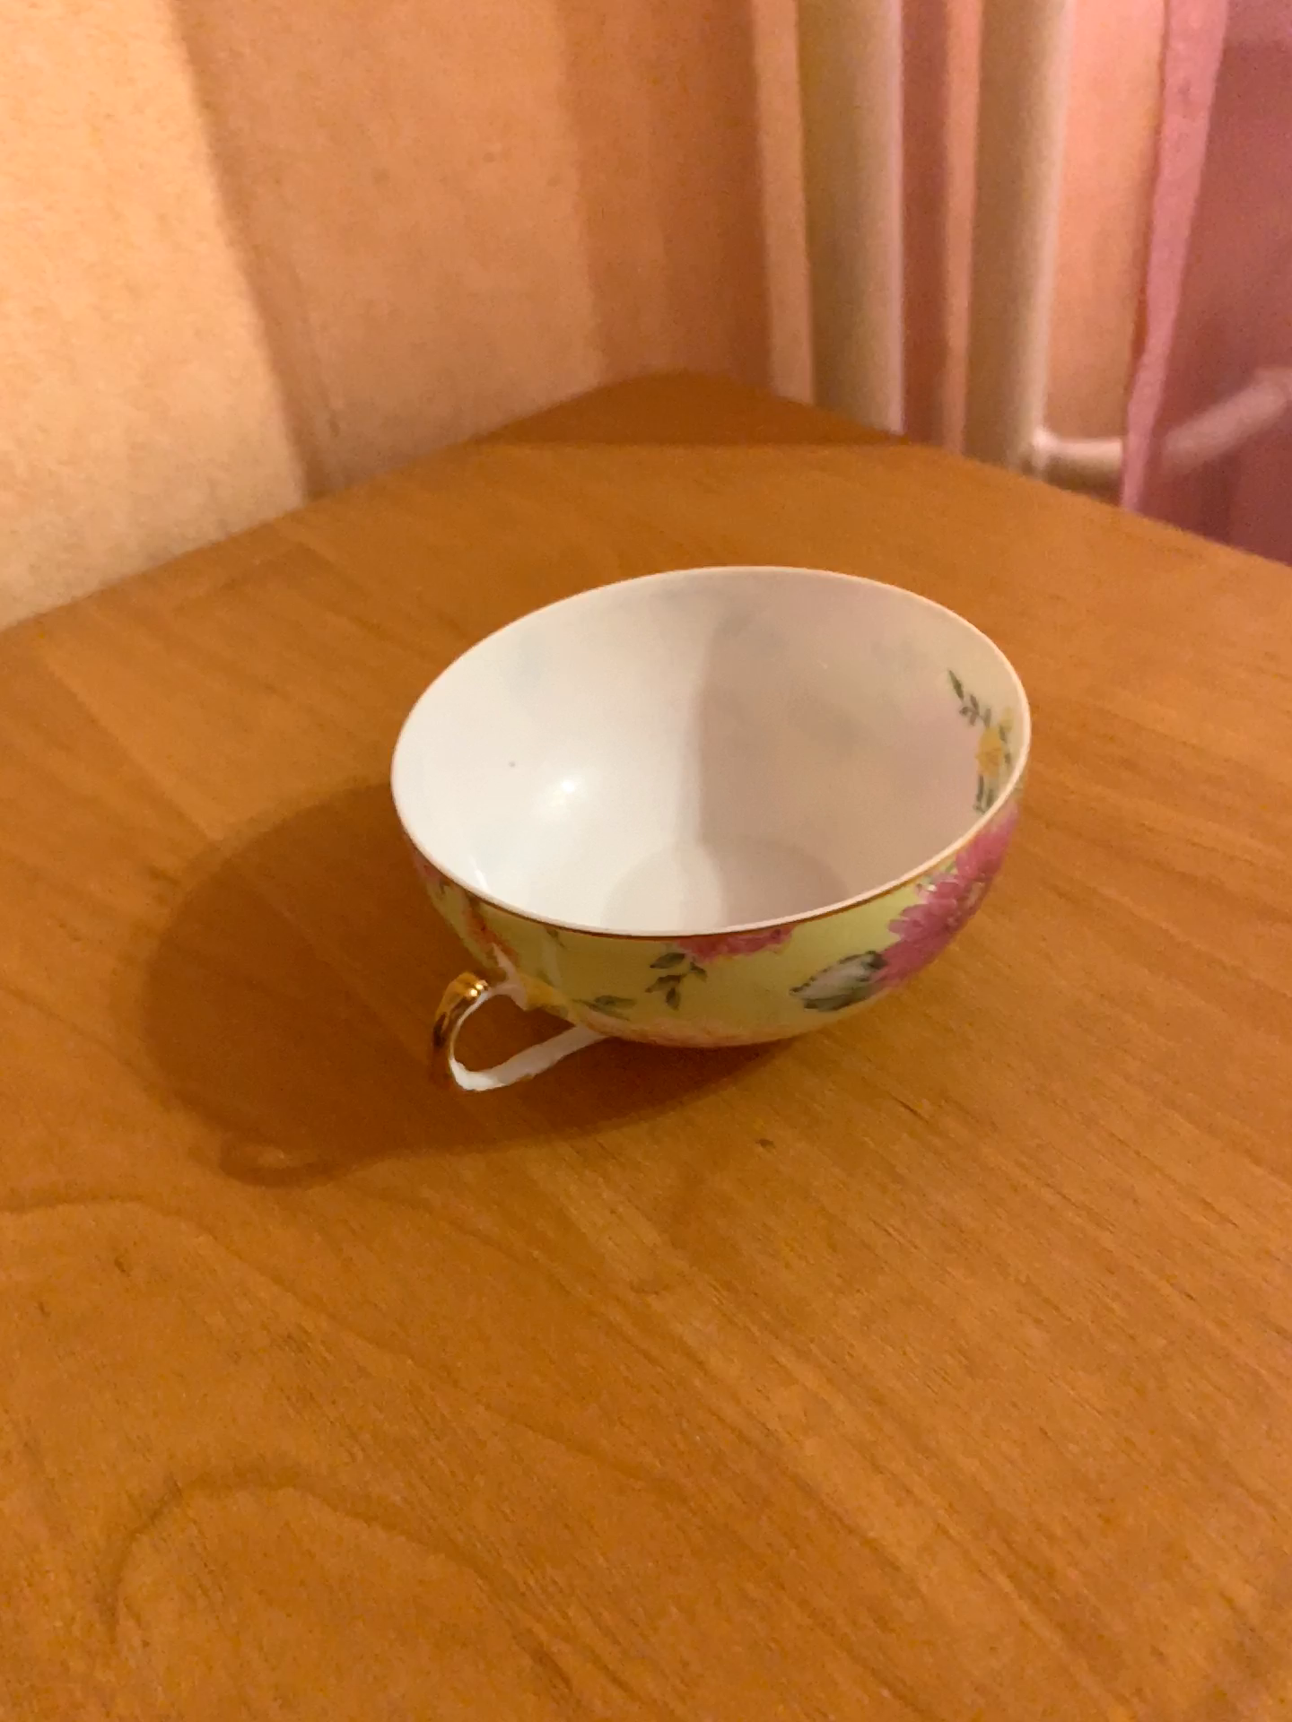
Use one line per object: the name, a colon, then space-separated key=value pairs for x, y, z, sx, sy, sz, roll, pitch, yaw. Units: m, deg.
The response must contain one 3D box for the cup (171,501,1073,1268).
cup: x=-0.002 y=-0.006 z=0.218 sx=0.113 sy=0.045 sz=0.079 roll=-31 pitch=44 yaw=-25
